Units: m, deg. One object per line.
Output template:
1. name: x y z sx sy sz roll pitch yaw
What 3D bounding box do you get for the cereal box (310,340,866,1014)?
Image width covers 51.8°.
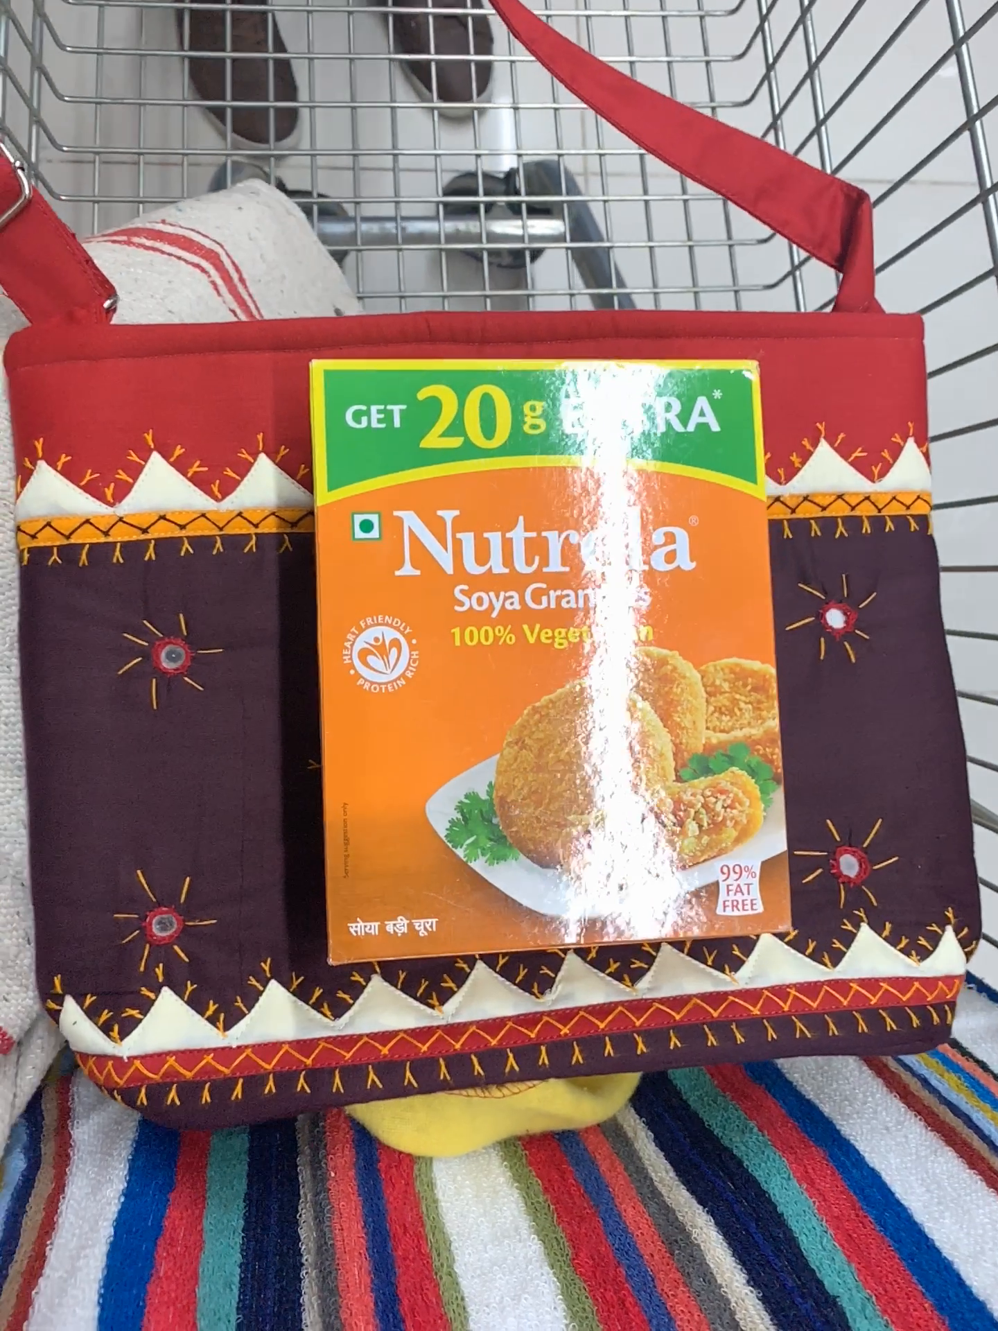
1. cereal box: 0.017 0.002 0.265 0.120 0.060 0.150 -2 84 -6
